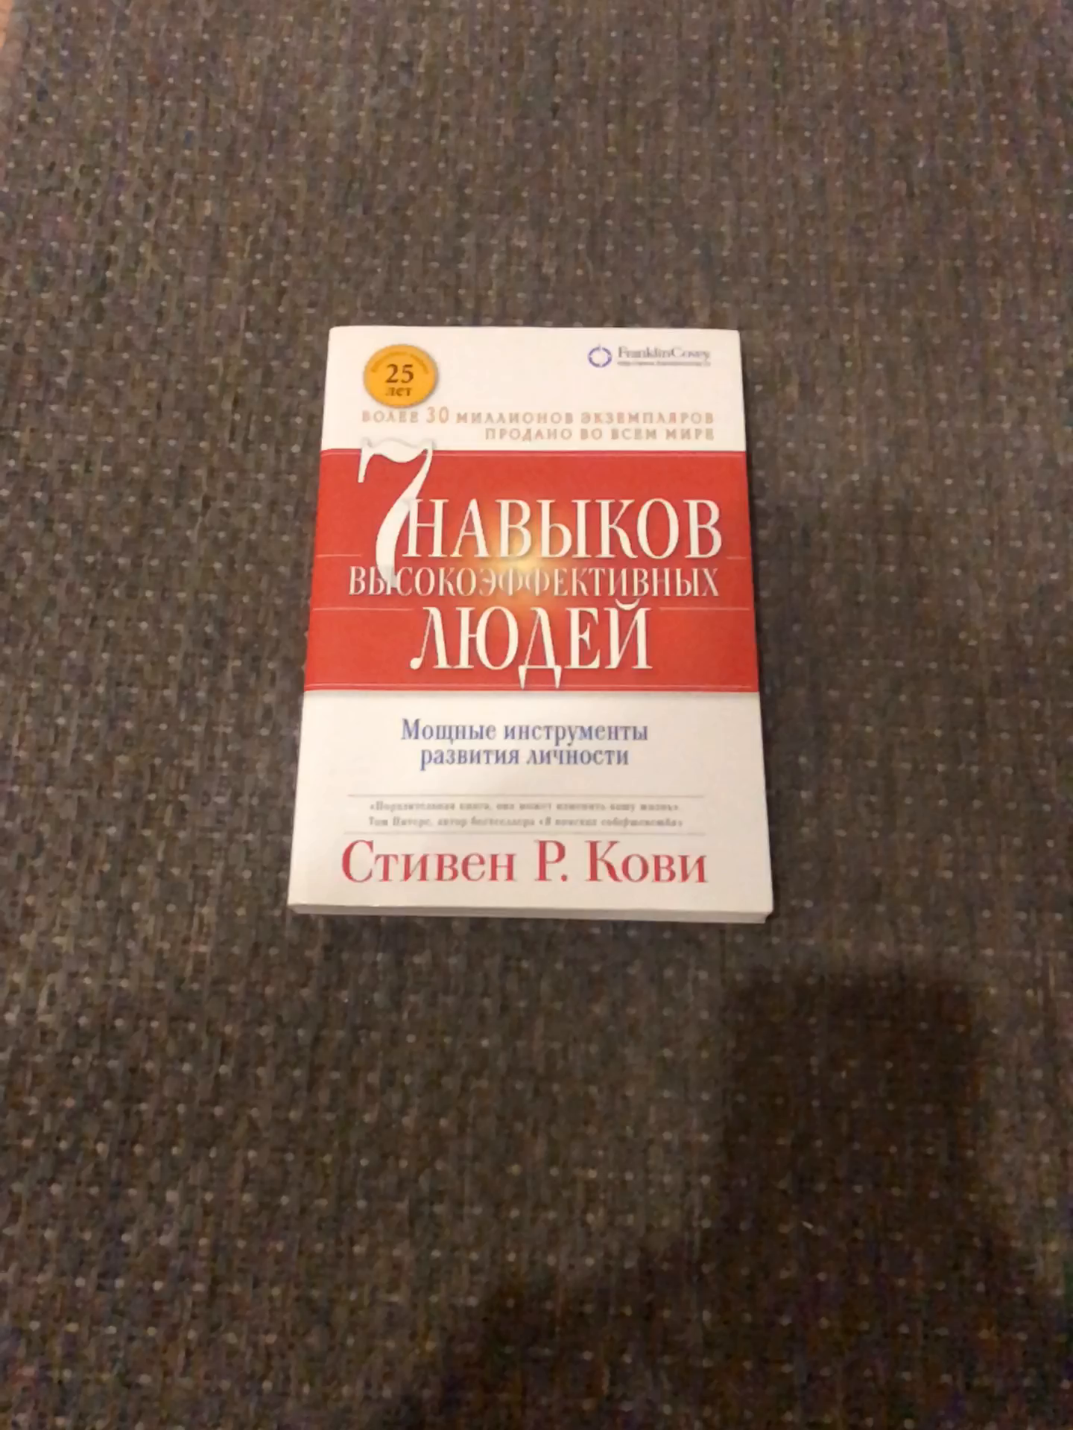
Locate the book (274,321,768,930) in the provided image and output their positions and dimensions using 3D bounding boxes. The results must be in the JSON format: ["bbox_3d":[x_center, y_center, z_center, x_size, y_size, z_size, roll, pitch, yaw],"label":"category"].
[{"bbox_3d":[-0.002,-0.041,0.445,0.166,0.020,0.236,1,71,1],"label":"book"}]
